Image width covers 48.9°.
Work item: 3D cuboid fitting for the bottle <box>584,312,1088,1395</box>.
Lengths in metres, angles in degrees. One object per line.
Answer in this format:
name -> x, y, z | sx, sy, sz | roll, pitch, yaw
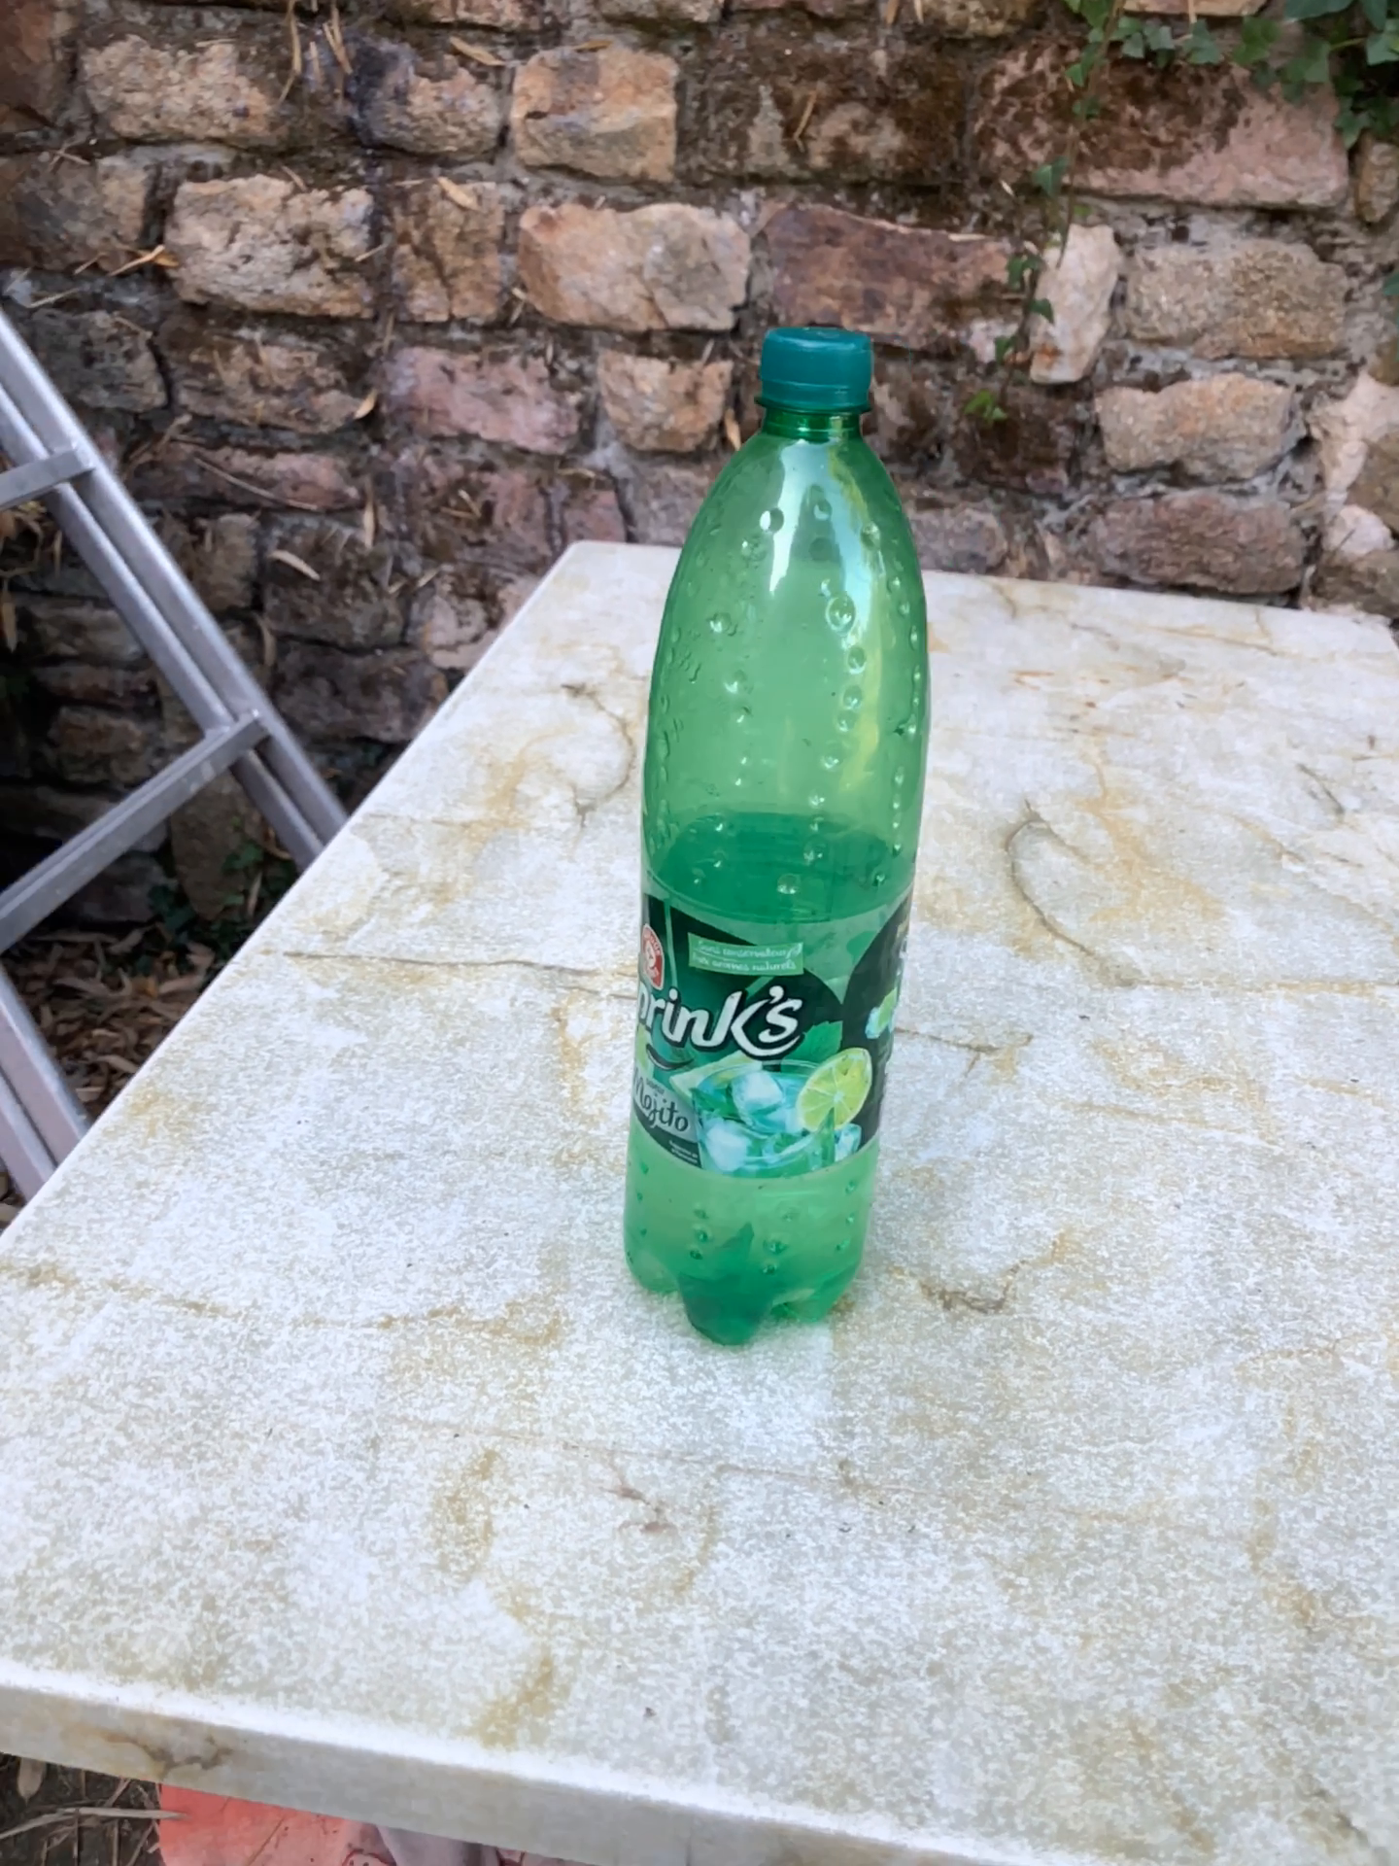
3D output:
bottle -> 0.028, -0.016, 0.470 | 0.090, 0.308, 0.090 | 2, 30, -1
